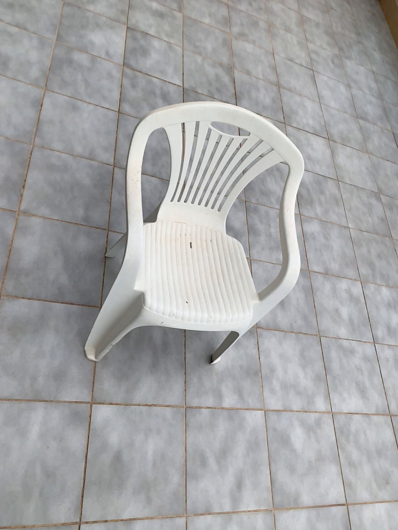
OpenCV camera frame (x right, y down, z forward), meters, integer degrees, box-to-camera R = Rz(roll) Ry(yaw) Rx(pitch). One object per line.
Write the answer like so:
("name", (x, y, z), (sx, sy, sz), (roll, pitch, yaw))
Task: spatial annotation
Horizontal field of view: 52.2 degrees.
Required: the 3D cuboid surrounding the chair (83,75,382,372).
("chair", (0.014, -0.030, 1.238), (0.572, 0.667, 0.561), (7, 61, -25))
